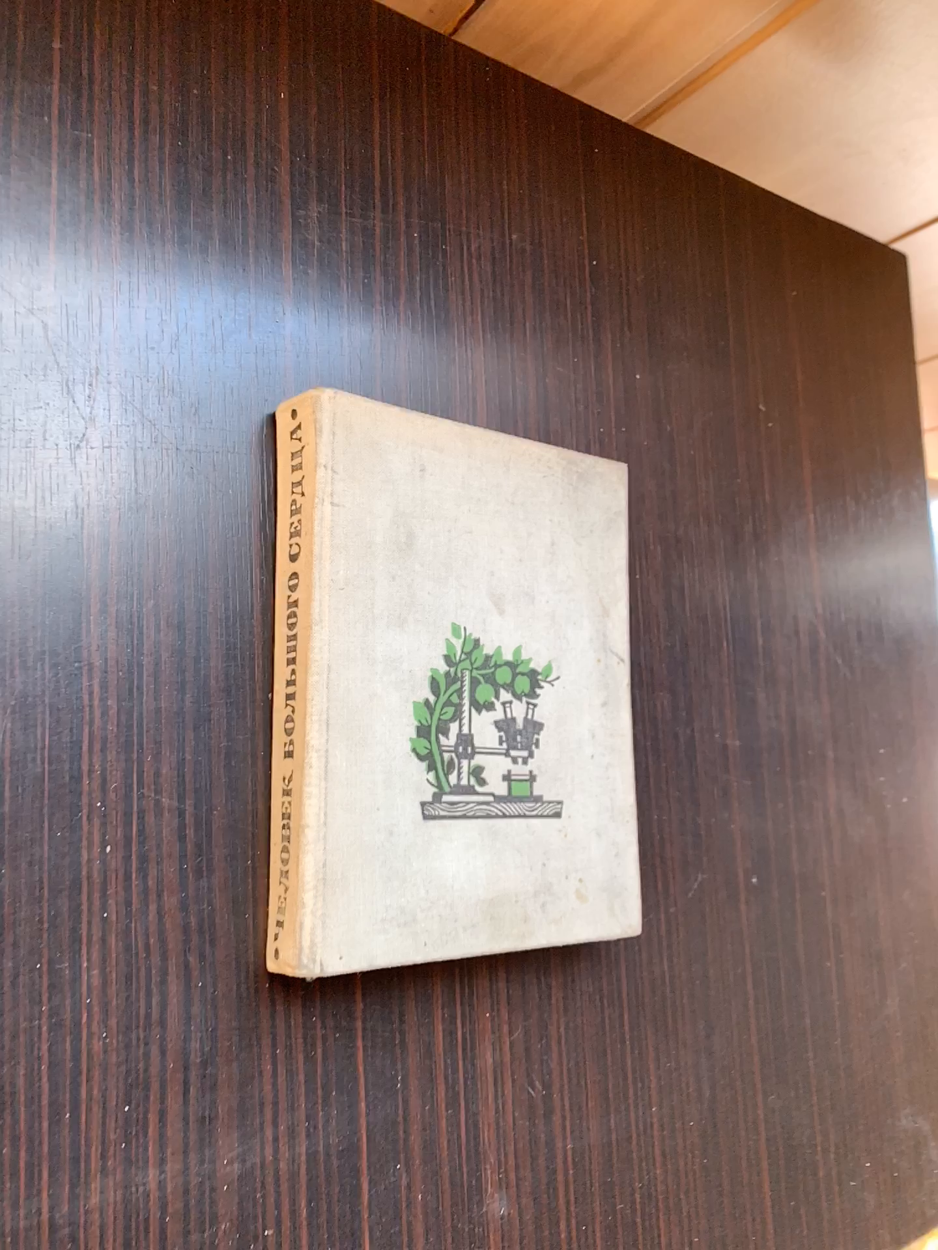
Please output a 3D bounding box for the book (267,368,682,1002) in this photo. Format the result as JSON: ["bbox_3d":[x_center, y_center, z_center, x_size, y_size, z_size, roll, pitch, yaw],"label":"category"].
[{"bbox_3d":[0.007,0.018,0.308,0.136,0.027,0.169,5,80,-35],"label":"book"}]
